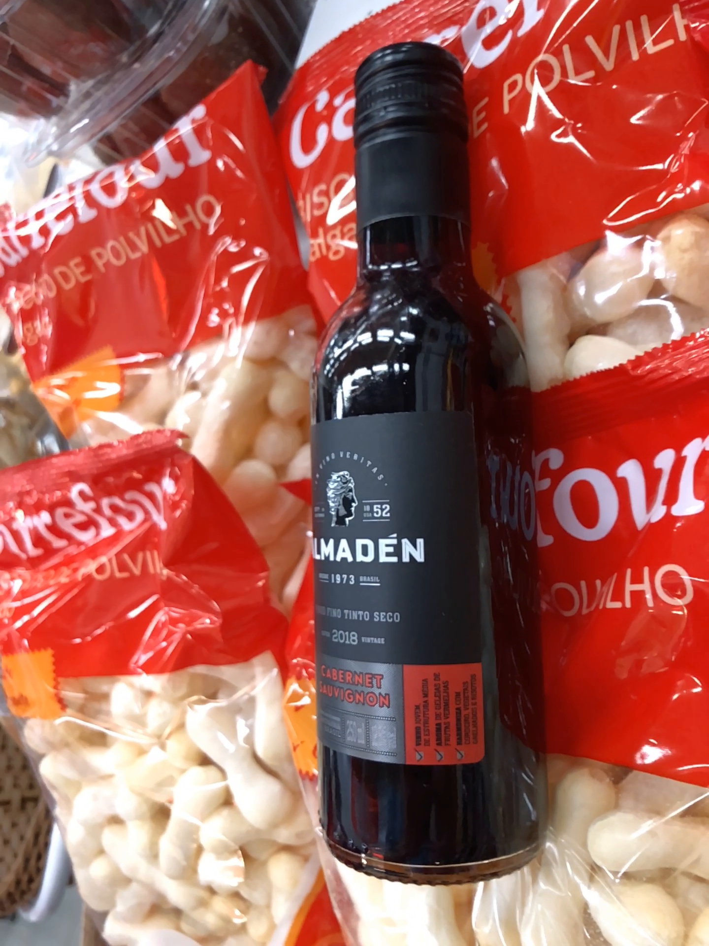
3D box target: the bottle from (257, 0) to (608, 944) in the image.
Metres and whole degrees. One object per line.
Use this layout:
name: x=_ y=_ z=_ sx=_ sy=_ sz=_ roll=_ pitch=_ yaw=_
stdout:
bottle: x=0.019 y=-0.013 z=0.190 sx=0.060 sy=0.050 sz=0.200 roll=-5 pitch=81 yaw=44
